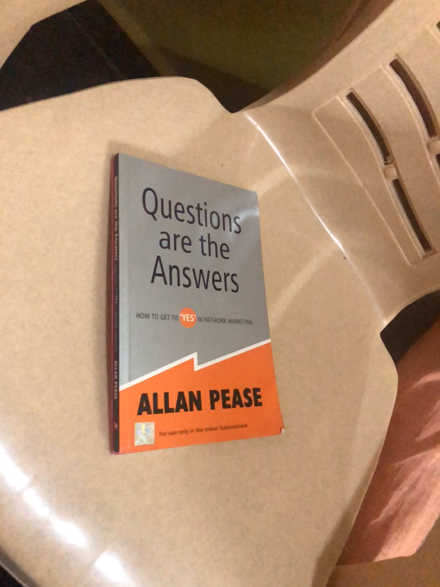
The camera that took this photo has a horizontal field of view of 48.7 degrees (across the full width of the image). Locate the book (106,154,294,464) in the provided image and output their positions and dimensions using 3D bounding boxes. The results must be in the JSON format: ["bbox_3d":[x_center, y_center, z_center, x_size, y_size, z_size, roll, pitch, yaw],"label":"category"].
[{"bbox_3d":[-0.012,0.011,0.377,0.151,0.020,0.210,5,76,-36],"label":"book"}]
